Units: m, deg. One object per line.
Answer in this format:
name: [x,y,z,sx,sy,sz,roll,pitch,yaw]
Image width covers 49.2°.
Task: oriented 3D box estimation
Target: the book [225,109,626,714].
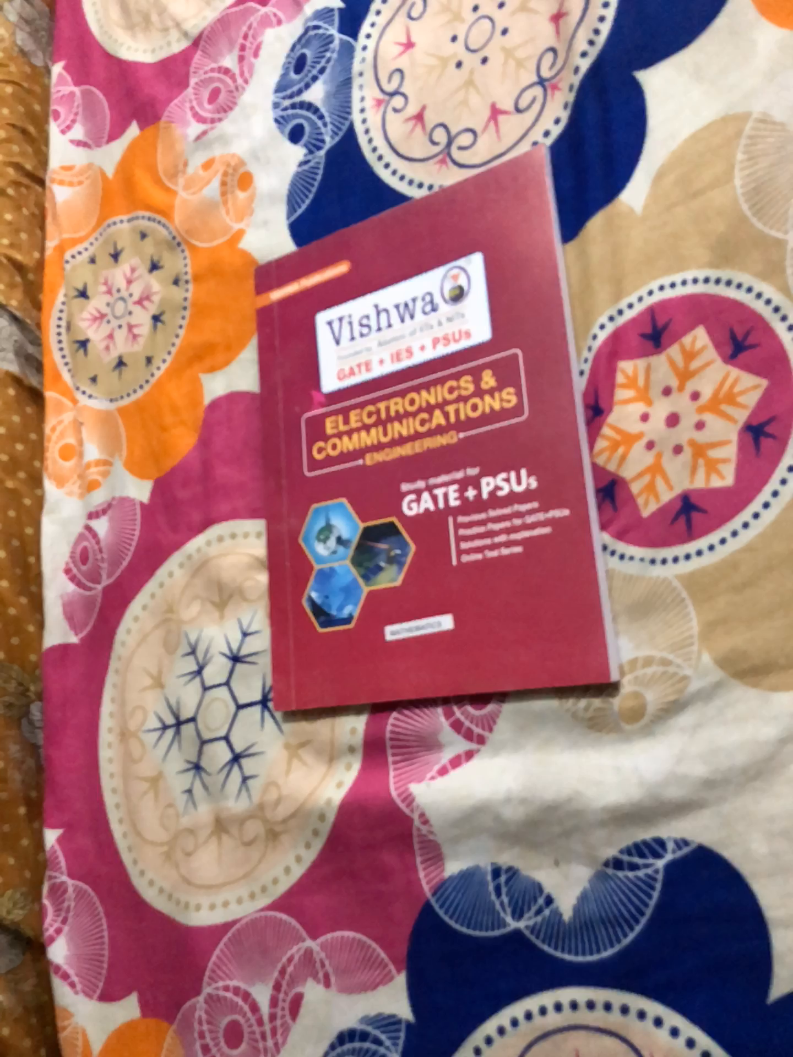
book: [0.000,-0.055,0.490,0.217,0.030,0.300,-11,75,29]
